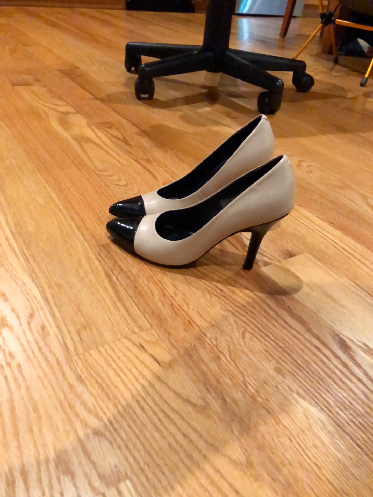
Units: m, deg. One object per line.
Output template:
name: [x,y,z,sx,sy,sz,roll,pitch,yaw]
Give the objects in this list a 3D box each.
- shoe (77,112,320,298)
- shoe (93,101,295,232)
shoe: [0.010,-0.053,0.455,0.235,0.138,0.085,13,33,11]
shoe: [0.002,-0.108,0.537,0.235,0.138,0.085,-3,34,-13]
